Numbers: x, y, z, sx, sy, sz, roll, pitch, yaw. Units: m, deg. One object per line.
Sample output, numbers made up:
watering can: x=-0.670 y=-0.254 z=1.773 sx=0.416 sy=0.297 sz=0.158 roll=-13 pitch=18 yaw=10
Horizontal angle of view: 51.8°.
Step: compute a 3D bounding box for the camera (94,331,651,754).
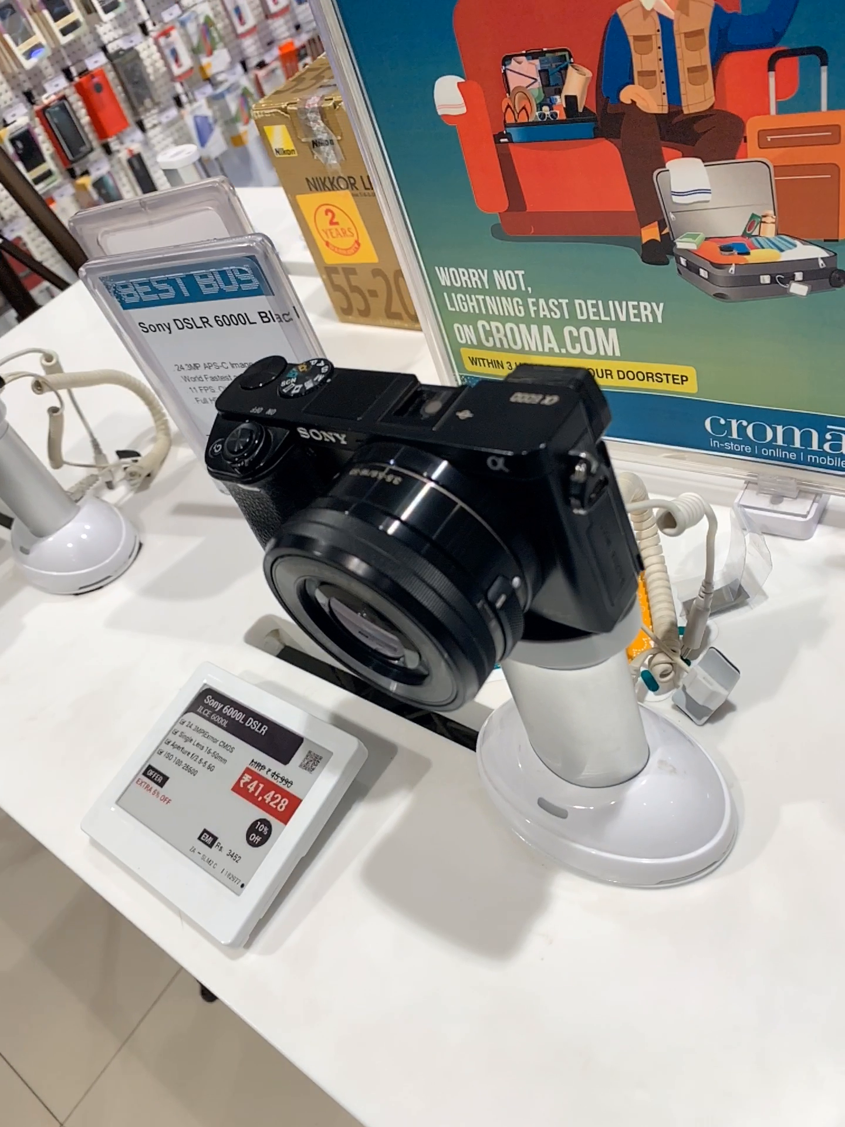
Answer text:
camera: x=-0.012 y=-0.011 z=0.228 sx=0.118 sy=0.073 sz=0.055 roll=13 pitch=53 yaw=34
